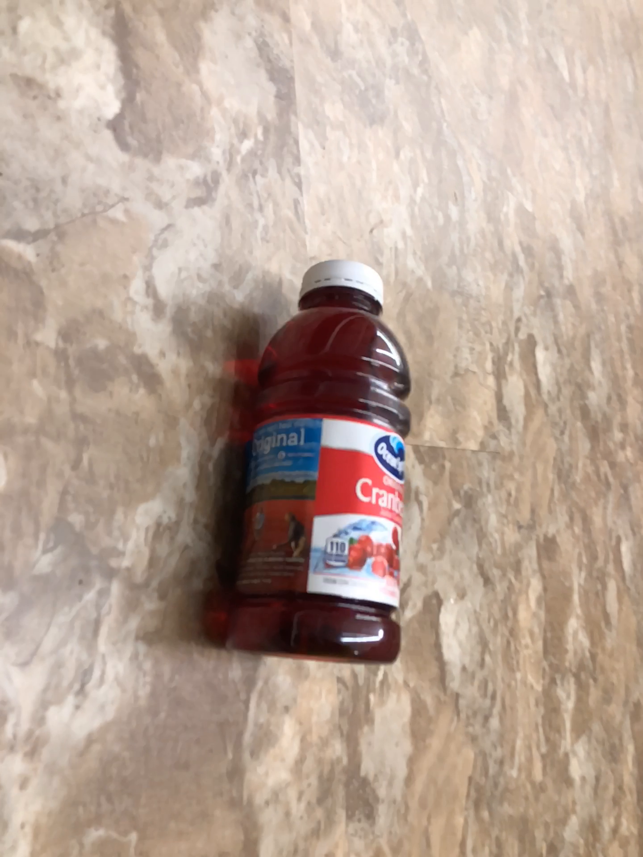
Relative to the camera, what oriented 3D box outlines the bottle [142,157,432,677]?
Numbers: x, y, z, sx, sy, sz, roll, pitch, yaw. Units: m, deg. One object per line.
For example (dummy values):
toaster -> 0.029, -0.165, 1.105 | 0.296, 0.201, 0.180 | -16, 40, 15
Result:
bottle -> -0.007, -0.001, 0.351 | 0.090, 0.083, 0.226 | 30, 59, -49
